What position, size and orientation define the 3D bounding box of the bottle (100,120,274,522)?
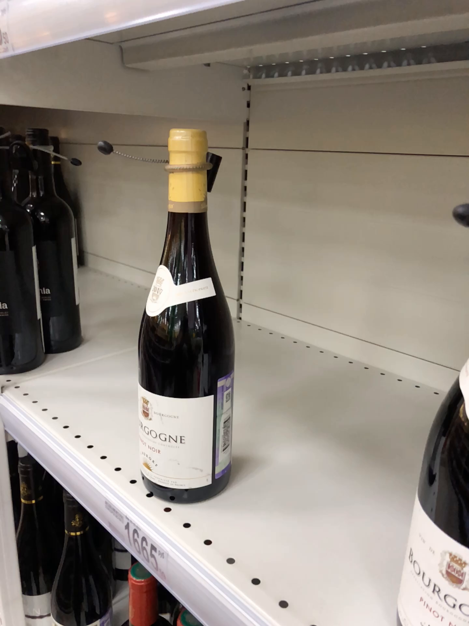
[{"bbox_3d":[-0.039,0.003,0.415,0.090,0.289,0.090,2,17,0],"label":"bottle"}]
